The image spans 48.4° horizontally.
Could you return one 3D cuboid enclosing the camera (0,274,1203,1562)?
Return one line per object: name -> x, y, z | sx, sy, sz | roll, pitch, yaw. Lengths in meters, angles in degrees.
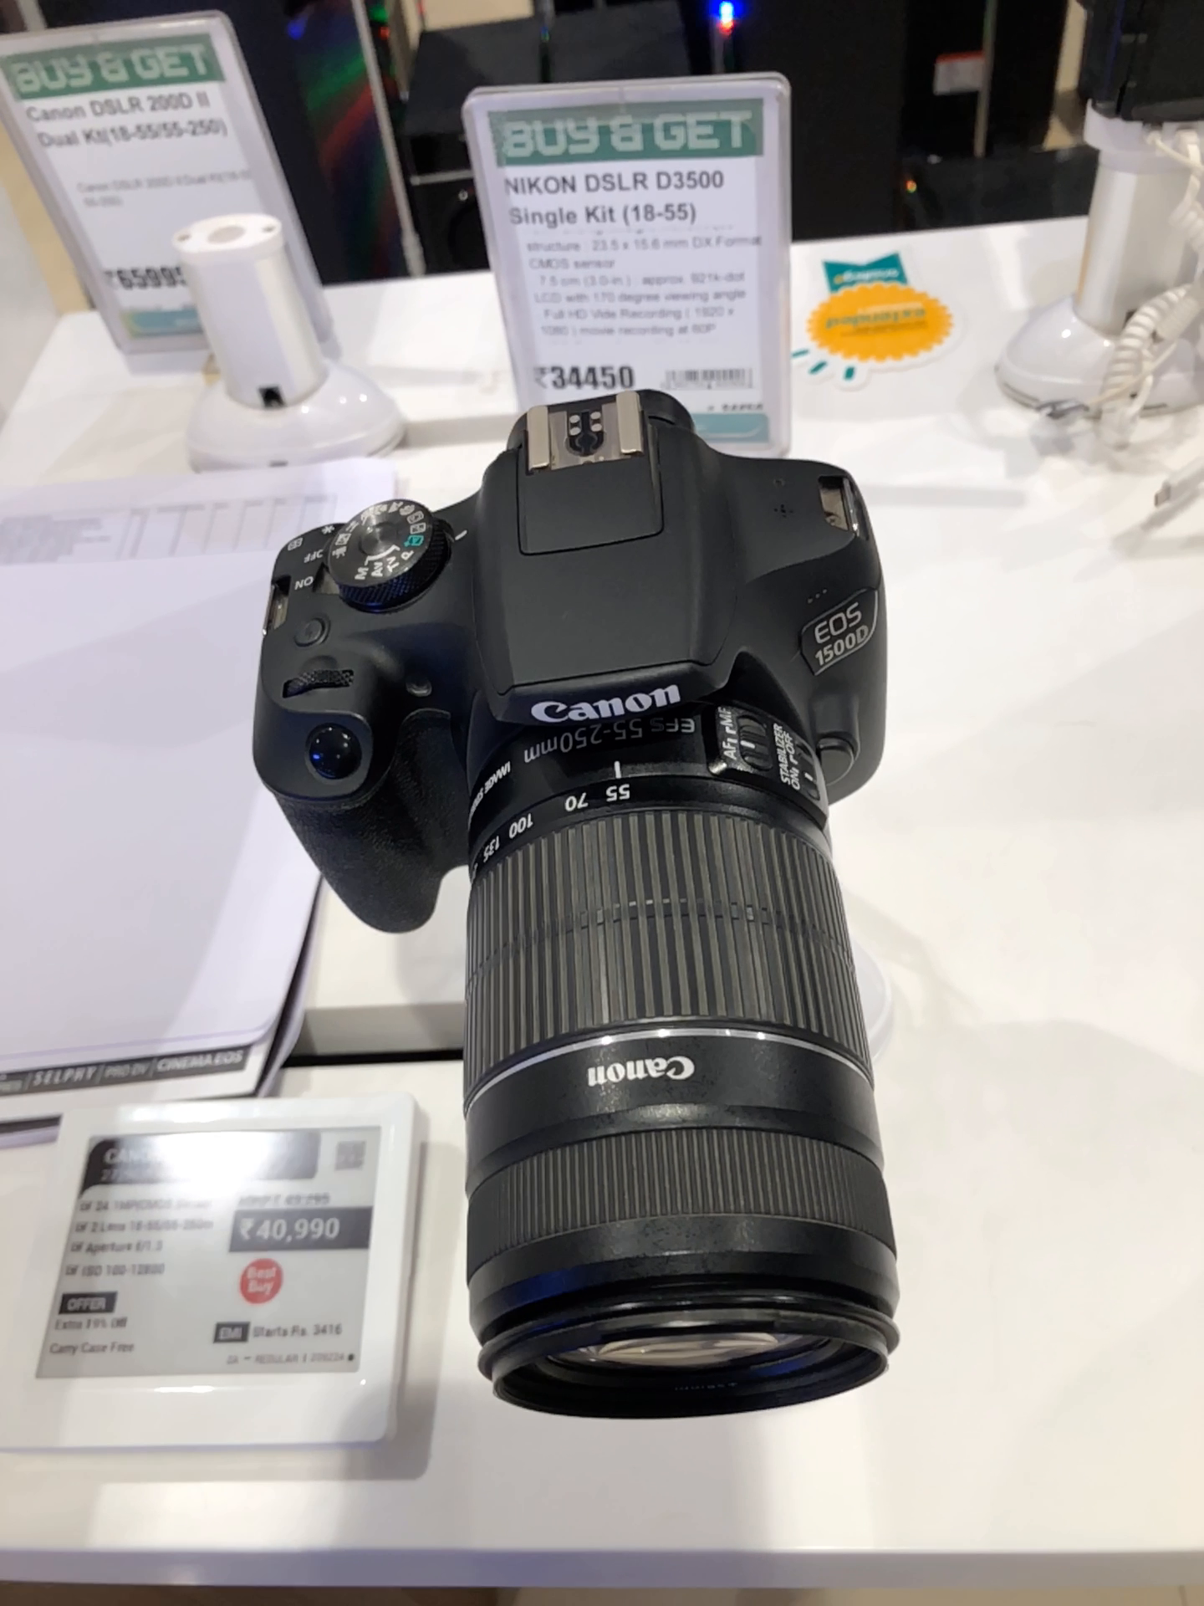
camera -> -0.009, 0.007, 0.243 | 0.140, 0.089, 0.201 | -8, 50, 2
